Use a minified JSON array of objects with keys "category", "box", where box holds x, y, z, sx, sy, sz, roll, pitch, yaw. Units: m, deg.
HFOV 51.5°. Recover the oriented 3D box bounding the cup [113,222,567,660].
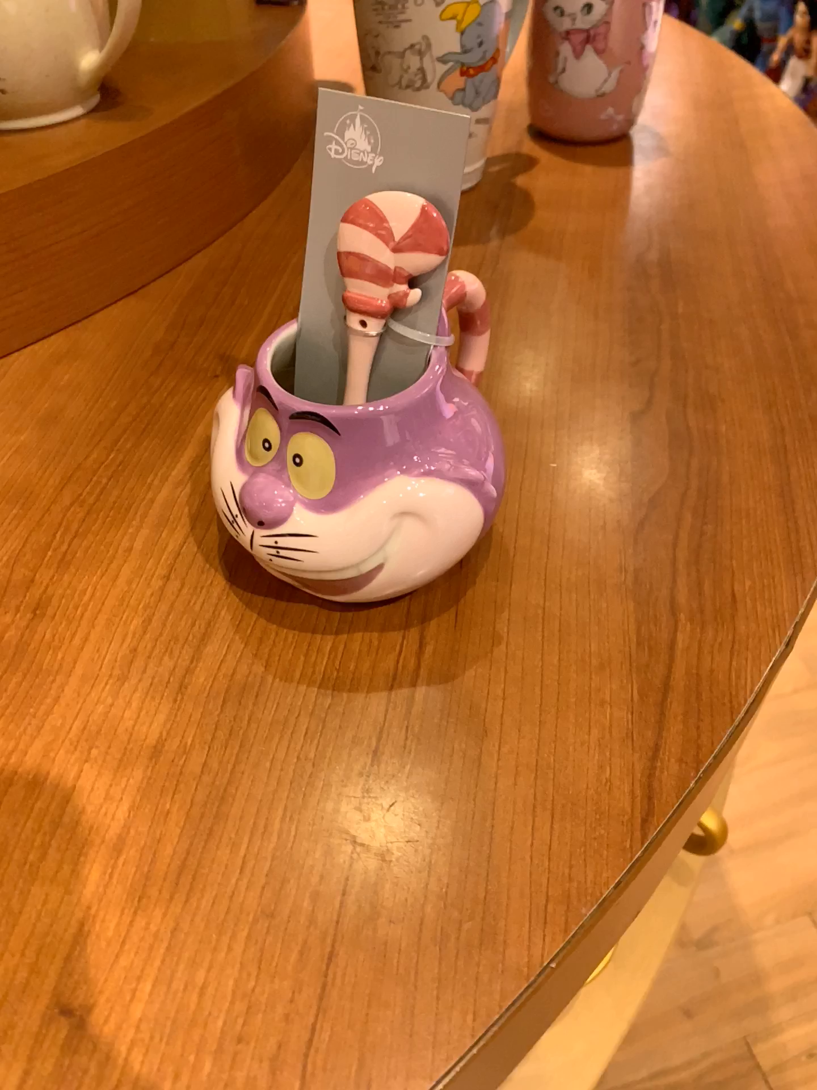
[{"category":"cup","box":[-0.013,-0.048,0.321,0.114,0.077,0.143,12,46,14]}]
